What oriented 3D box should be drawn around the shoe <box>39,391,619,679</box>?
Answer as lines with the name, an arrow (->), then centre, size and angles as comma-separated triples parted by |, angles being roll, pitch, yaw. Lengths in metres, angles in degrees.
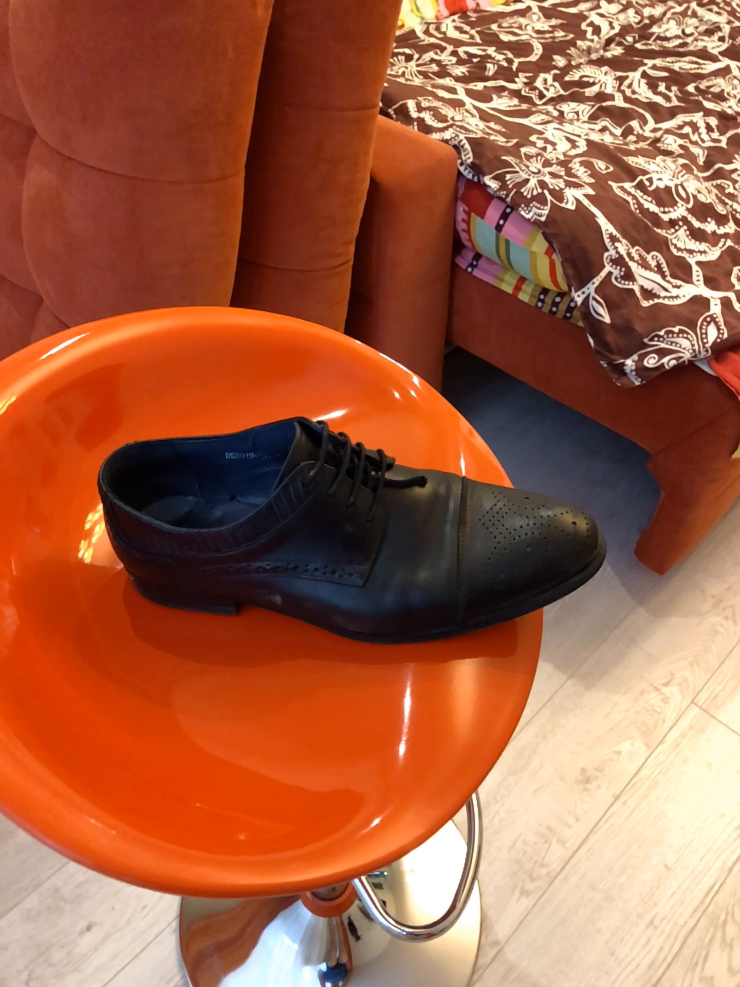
shoe -> -0.018, 0.020, 0.482 | 0.300, 0.079, 0.121 | 5, 47, 6
